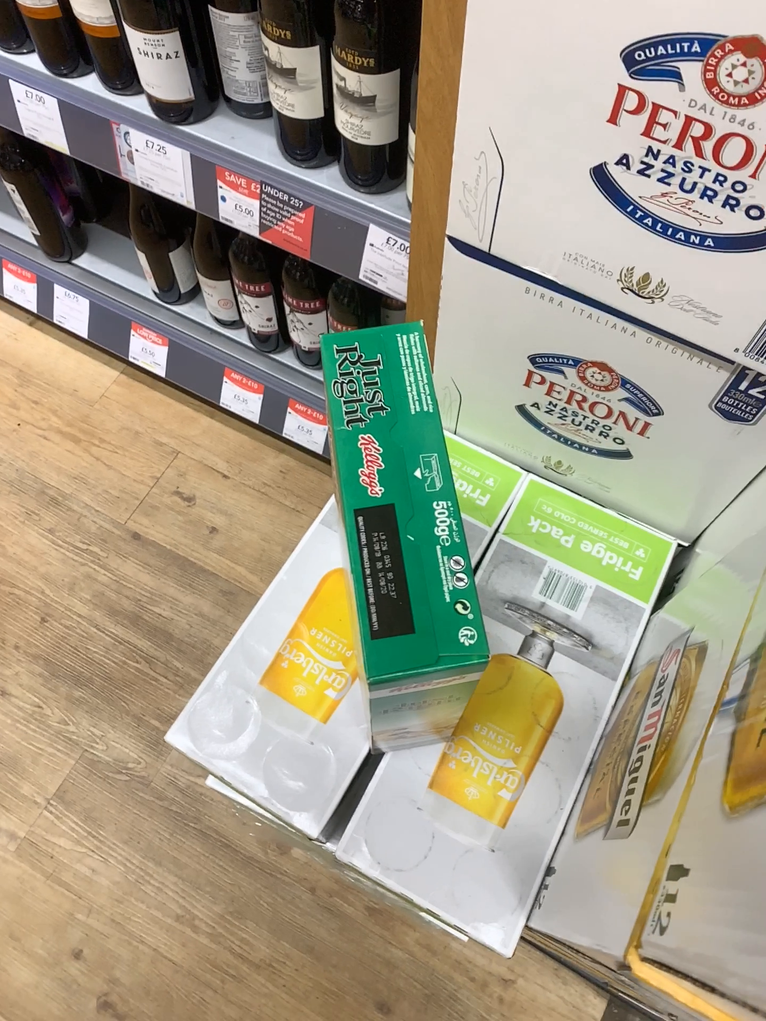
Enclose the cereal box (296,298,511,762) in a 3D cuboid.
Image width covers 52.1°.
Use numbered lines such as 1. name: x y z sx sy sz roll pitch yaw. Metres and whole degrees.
1. cereal box: 0.004 0.031 0.467 0.070 0.239 0.191 -8 65 -3
